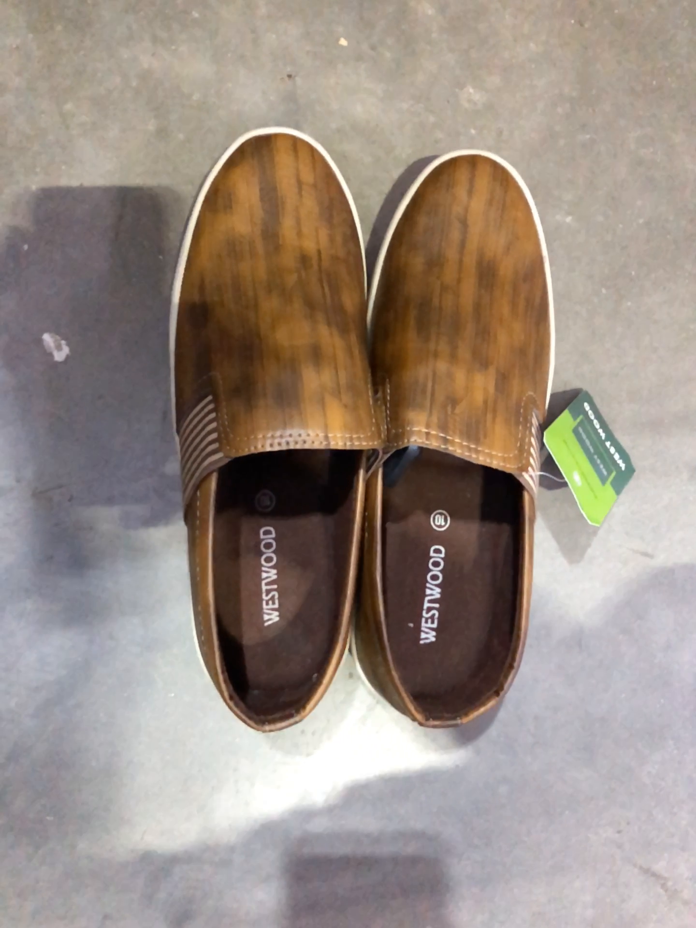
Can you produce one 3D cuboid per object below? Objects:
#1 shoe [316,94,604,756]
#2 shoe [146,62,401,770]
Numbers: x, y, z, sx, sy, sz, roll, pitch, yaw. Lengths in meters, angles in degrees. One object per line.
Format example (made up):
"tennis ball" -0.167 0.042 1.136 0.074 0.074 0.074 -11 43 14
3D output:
"shoe" 0.051 -0.017 0.394 0.110 0.100 0.290 4 84 -5
"shoe" -0.036 -0.022 0.368 0.100 0.100 0.290 -1 85 -5
